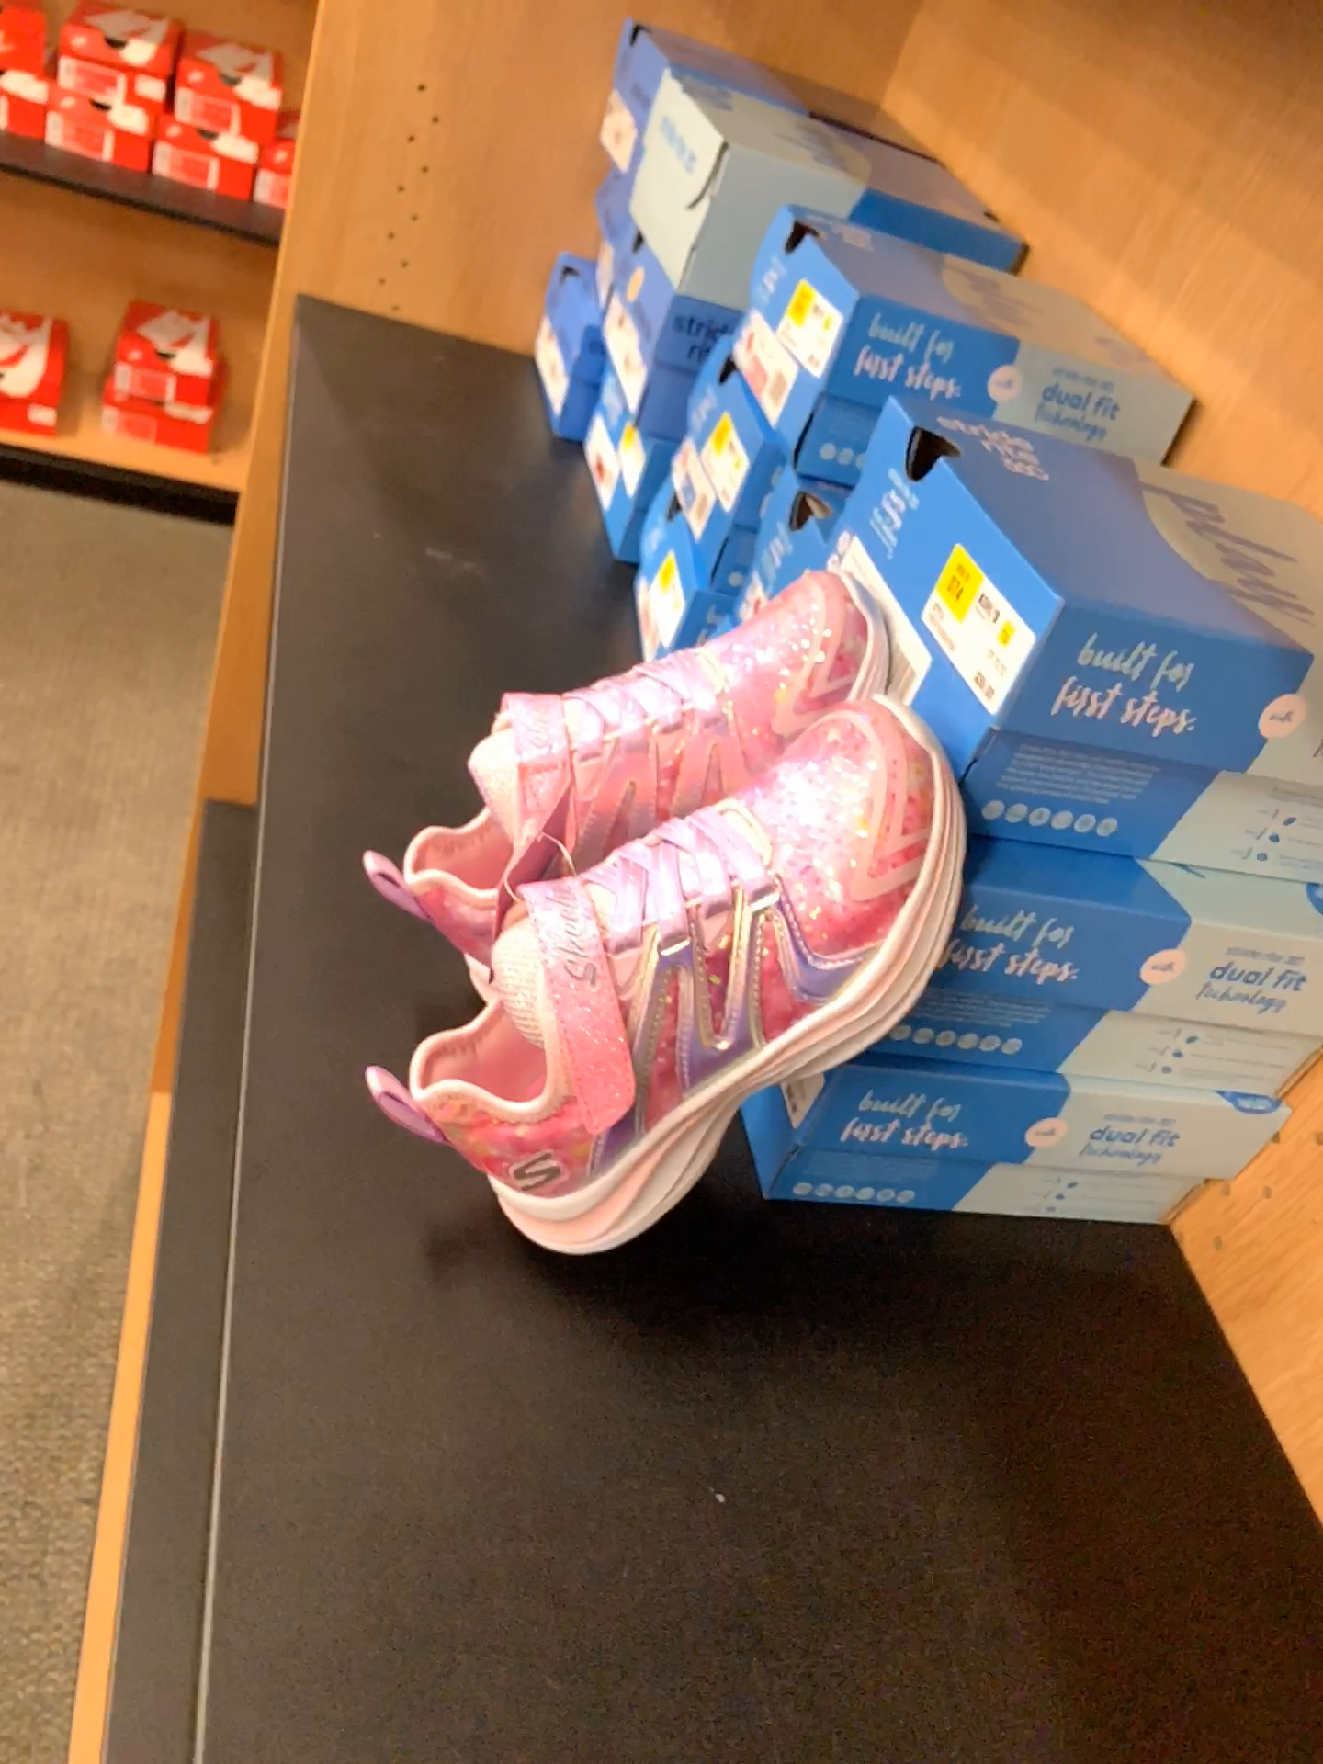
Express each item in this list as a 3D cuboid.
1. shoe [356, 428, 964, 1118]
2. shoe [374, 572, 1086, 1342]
[{"bbox_3d":[-0.011,-0.033,0.472,0.080,0.209,0.090,29,21,-30],"label":"shoe"},{"bbox_3d":[0.009,0.027,0.404,0.080,0.199,0.090,26,21,-34],"label":"shoe"}]
